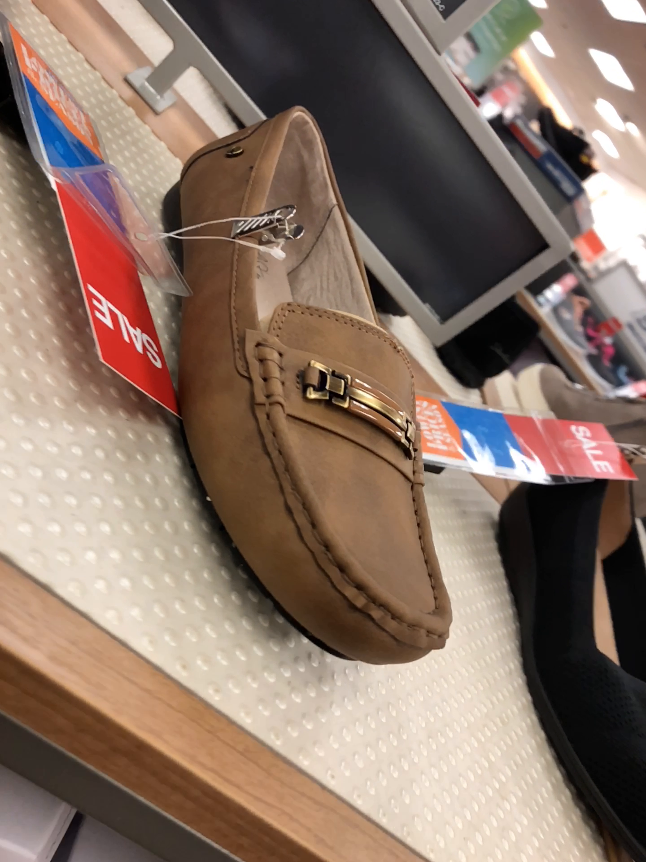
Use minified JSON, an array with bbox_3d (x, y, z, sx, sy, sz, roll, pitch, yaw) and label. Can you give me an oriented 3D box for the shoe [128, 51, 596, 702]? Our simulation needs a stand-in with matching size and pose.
[{"bbox_3d":[-0.001,-0.030,0.279,0.087,0.079,0.235,29,34,-47],"label":"shoe"}]
